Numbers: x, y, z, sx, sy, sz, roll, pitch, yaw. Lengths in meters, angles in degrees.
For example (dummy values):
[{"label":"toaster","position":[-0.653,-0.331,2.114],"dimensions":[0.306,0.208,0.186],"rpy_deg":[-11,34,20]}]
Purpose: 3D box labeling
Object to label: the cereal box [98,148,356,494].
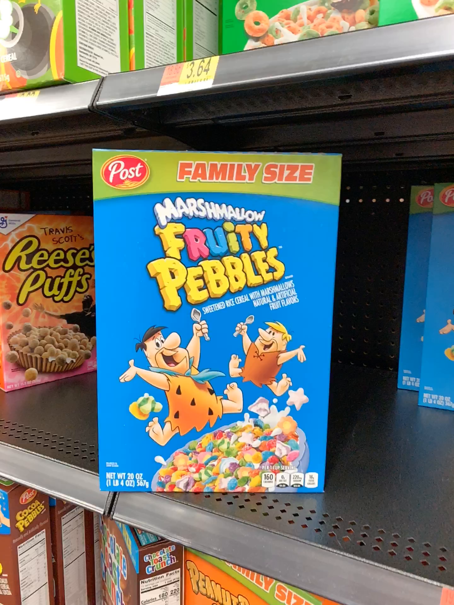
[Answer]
[{"label":"cereal box","position":[-0.004,0.022,0.475],"dimensions":[0.230,0.329,0.070],"rpy_deg":[1,9,-2]}]
